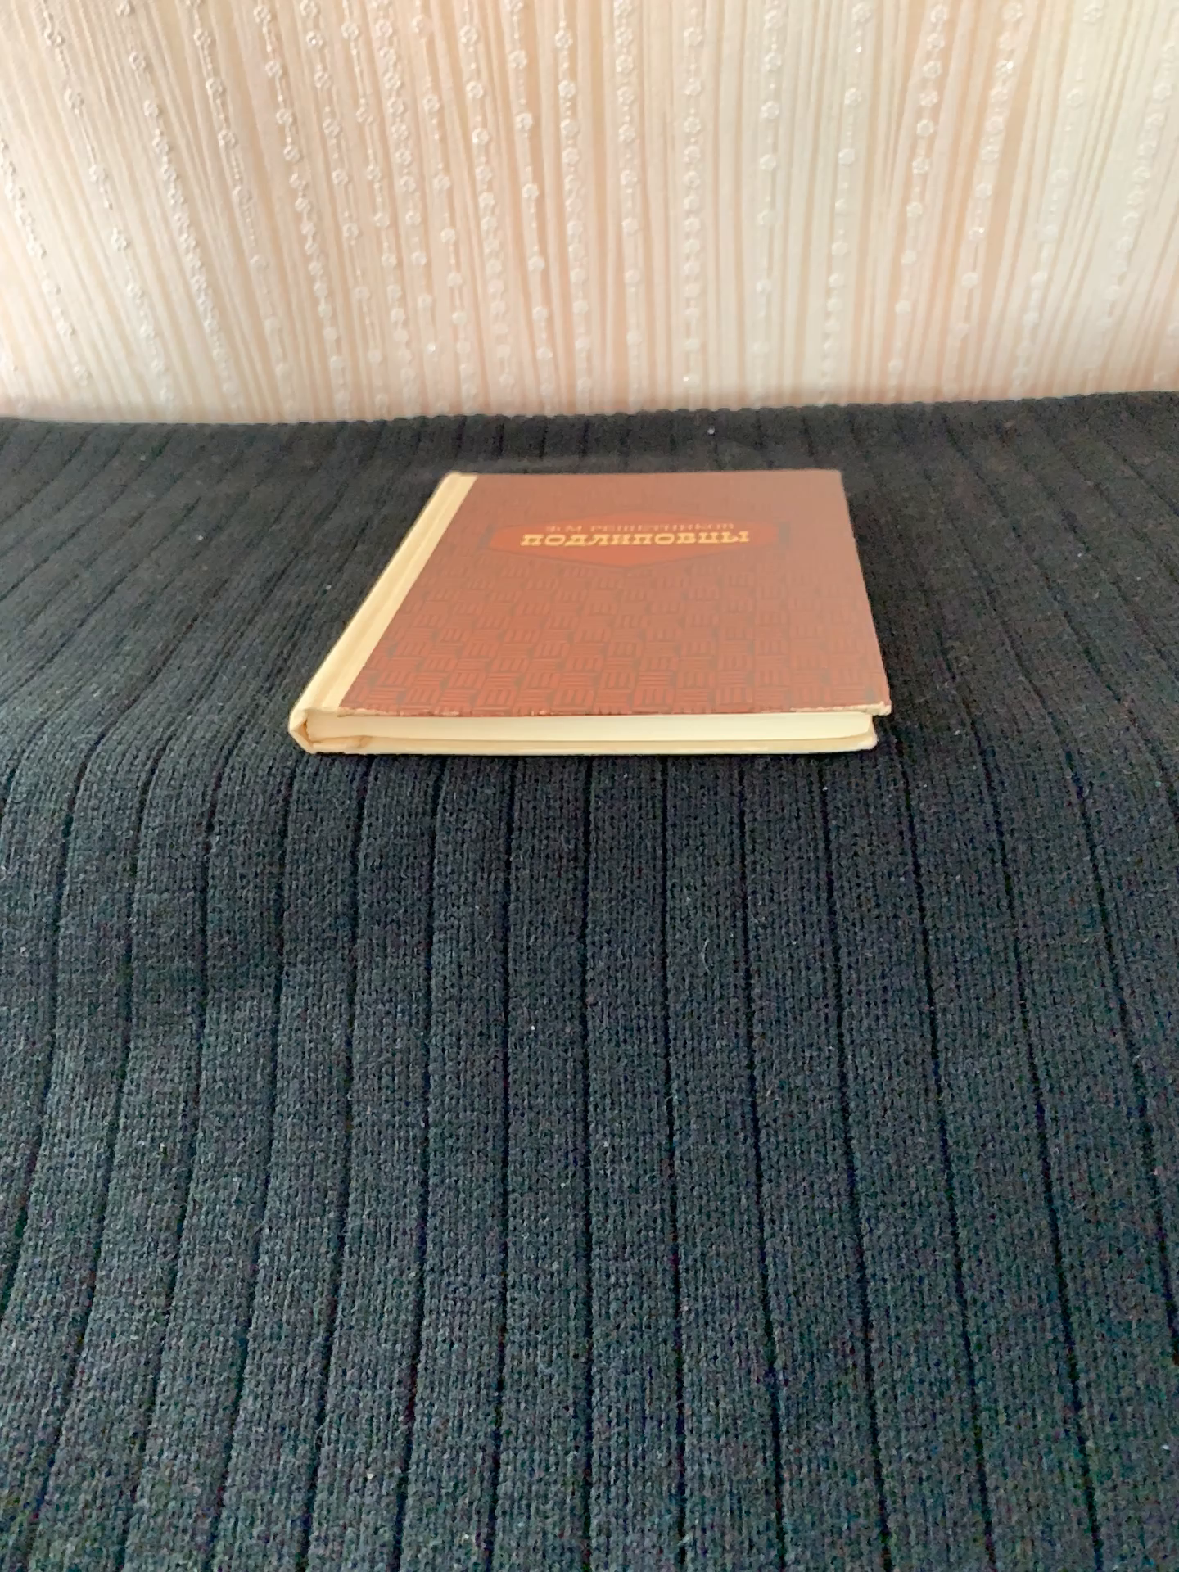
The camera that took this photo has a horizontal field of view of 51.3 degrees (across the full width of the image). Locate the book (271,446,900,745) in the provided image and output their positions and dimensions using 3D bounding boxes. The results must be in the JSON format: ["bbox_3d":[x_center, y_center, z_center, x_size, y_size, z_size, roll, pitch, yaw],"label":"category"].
[{"bbox_3d":[0.006,-0.060,0.332,0.129,0.015,0.178,1,30,5],"label":"book"}]
